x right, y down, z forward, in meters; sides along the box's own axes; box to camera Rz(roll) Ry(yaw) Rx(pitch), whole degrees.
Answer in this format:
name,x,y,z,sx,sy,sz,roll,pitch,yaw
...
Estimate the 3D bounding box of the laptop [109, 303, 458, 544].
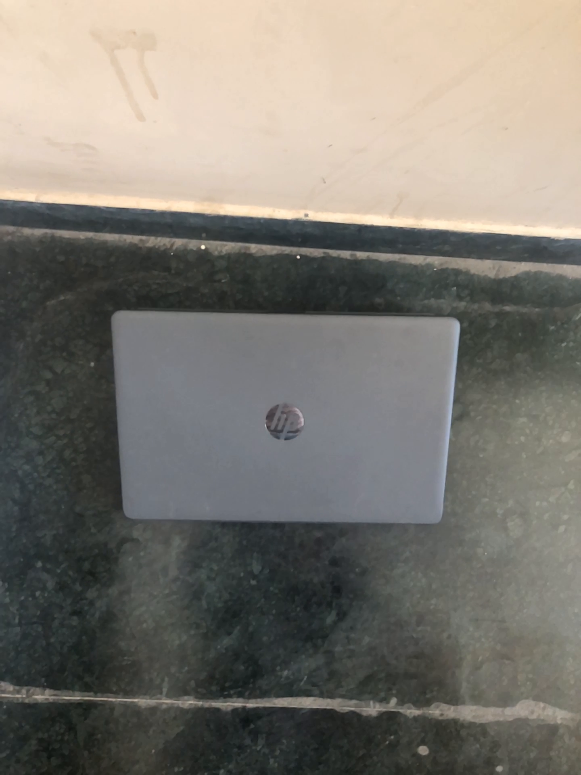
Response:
name,x,y,z,sx,sy,sz,roll,pitch,yaw
laptop,-0.005,0.040,0.709,0.357,0.092,0.243,1,88,-1
